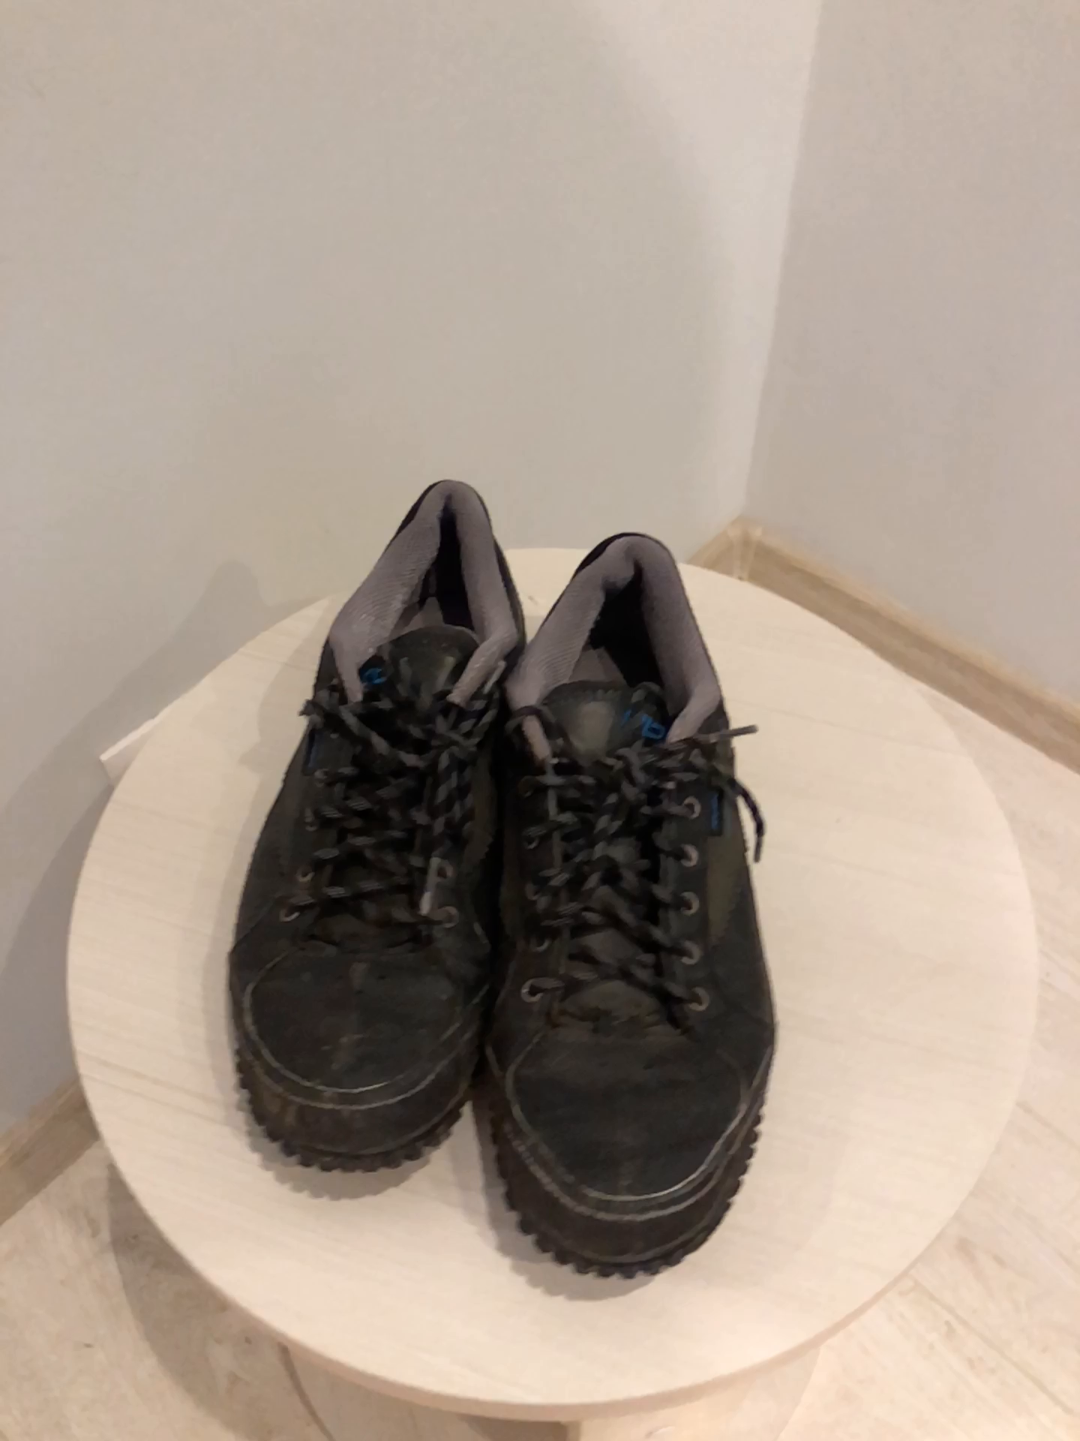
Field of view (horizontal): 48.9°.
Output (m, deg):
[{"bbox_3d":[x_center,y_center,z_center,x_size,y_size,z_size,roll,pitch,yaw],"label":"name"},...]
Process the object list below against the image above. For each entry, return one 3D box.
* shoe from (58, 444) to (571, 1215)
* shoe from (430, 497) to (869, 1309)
[{"bbox_3d":[-0.059,0.023,0.446,0.110,0.099,0.272,5,50,6],"label":"shoe"},{"bbox_3d":[0.035,0.047,0.425,0.110,0.099,0.272,2,49,3],"label":"shoe"}]
